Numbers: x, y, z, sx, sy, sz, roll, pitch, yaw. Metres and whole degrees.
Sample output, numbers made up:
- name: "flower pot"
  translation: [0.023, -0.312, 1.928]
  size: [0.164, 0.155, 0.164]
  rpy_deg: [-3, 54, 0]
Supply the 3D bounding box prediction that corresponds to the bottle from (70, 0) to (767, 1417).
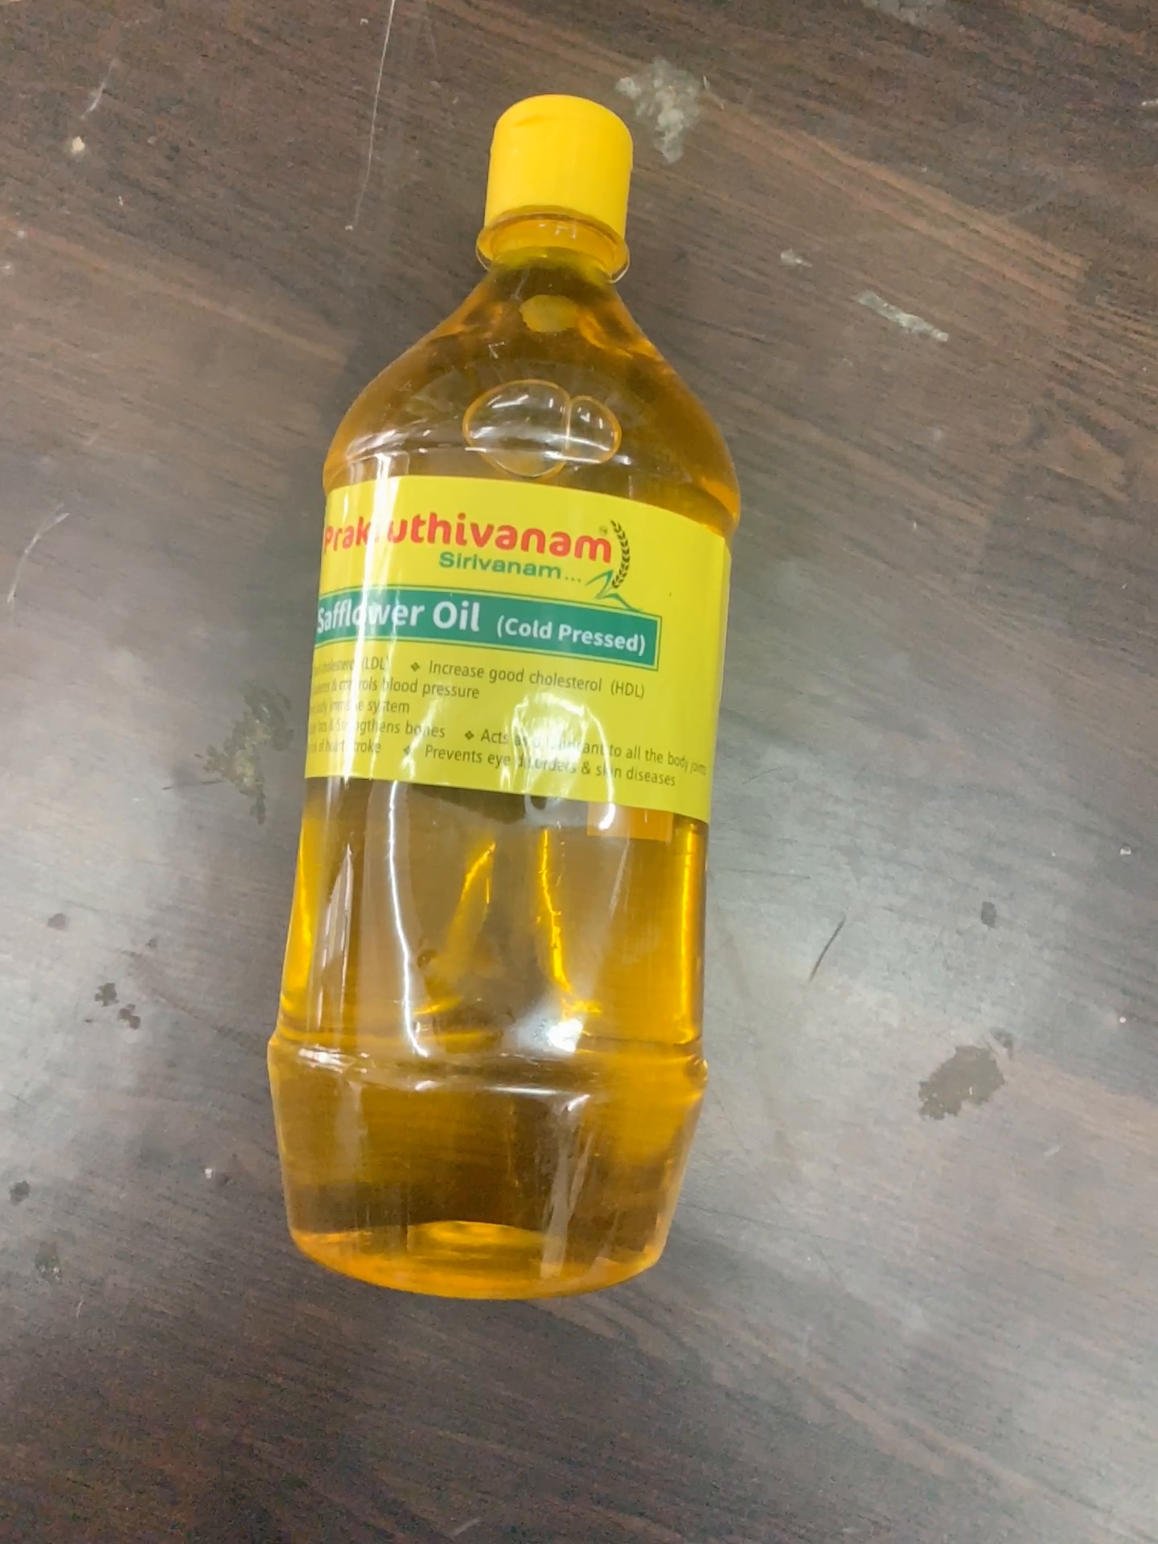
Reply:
- name: "bottle"
  translation: [-0.020, -0.020, 0.231]
  size: [0.090, 0.080, 0.230]
  rpy_deg: [3, 85, 14]
